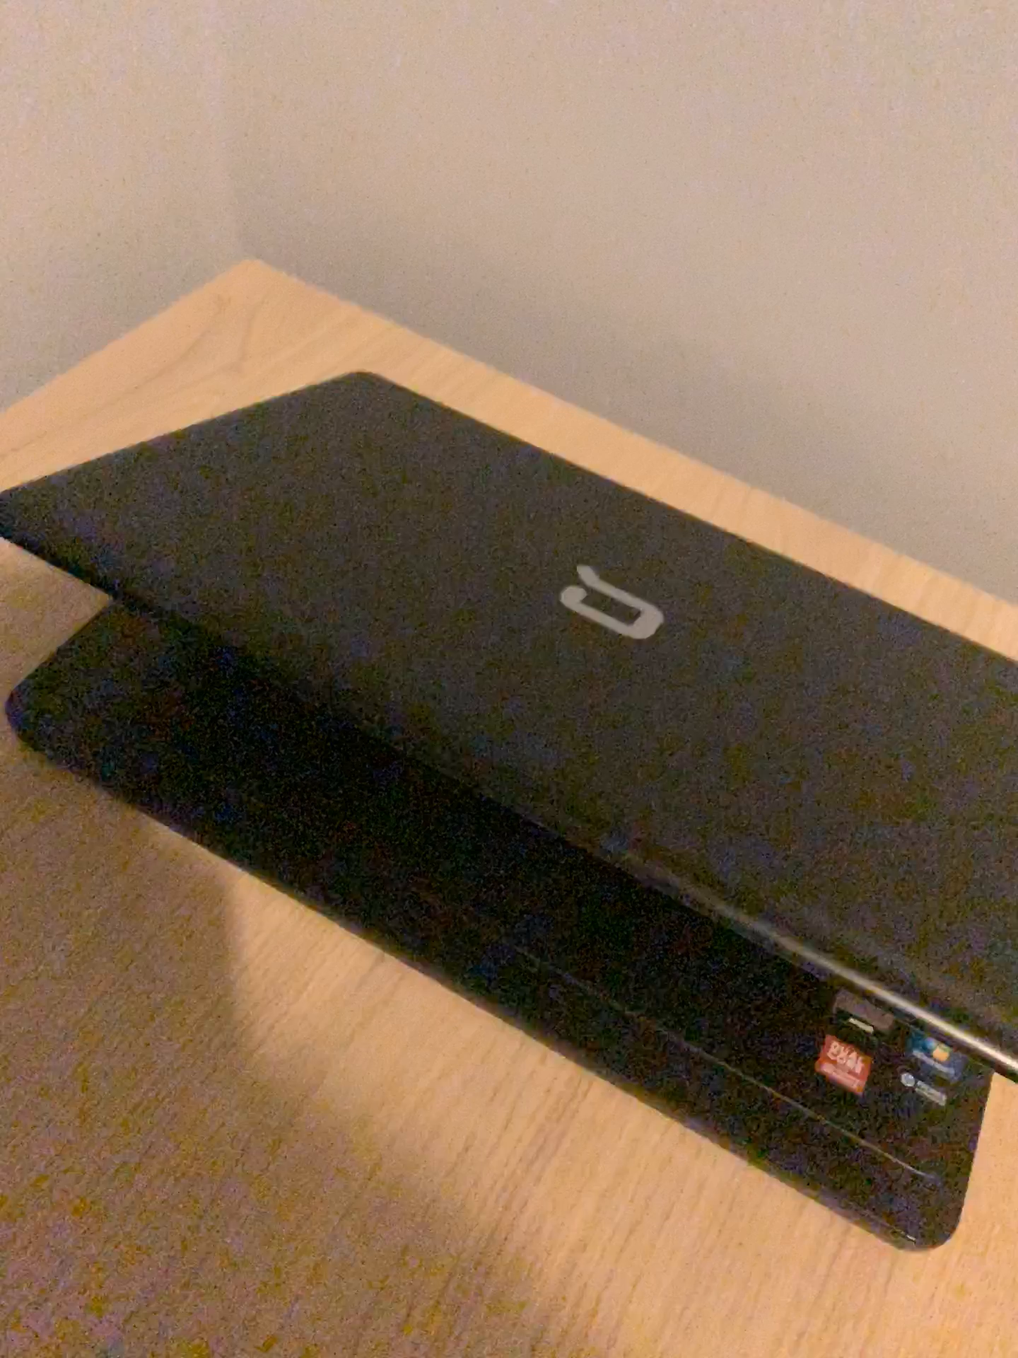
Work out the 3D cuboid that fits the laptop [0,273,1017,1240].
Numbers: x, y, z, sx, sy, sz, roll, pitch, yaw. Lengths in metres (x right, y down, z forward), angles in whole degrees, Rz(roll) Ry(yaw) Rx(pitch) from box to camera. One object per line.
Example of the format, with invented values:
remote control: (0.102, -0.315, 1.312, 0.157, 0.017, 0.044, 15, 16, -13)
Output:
laptop: (0.028, -0.006, 0.401, 0.373, 0.064, 0.225, 26, 56, 13)
